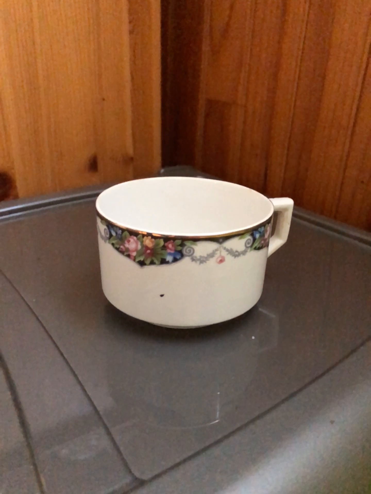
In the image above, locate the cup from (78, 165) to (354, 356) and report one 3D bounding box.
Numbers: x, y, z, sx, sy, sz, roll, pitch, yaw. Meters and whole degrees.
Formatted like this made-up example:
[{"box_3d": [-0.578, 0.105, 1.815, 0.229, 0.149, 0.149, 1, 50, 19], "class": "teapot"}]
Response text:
[{"box_3d": [0.012, -0.004, 0.255, 0.130, 0.060, 0.100, -10, 28, -24], "class": "cup"}]
